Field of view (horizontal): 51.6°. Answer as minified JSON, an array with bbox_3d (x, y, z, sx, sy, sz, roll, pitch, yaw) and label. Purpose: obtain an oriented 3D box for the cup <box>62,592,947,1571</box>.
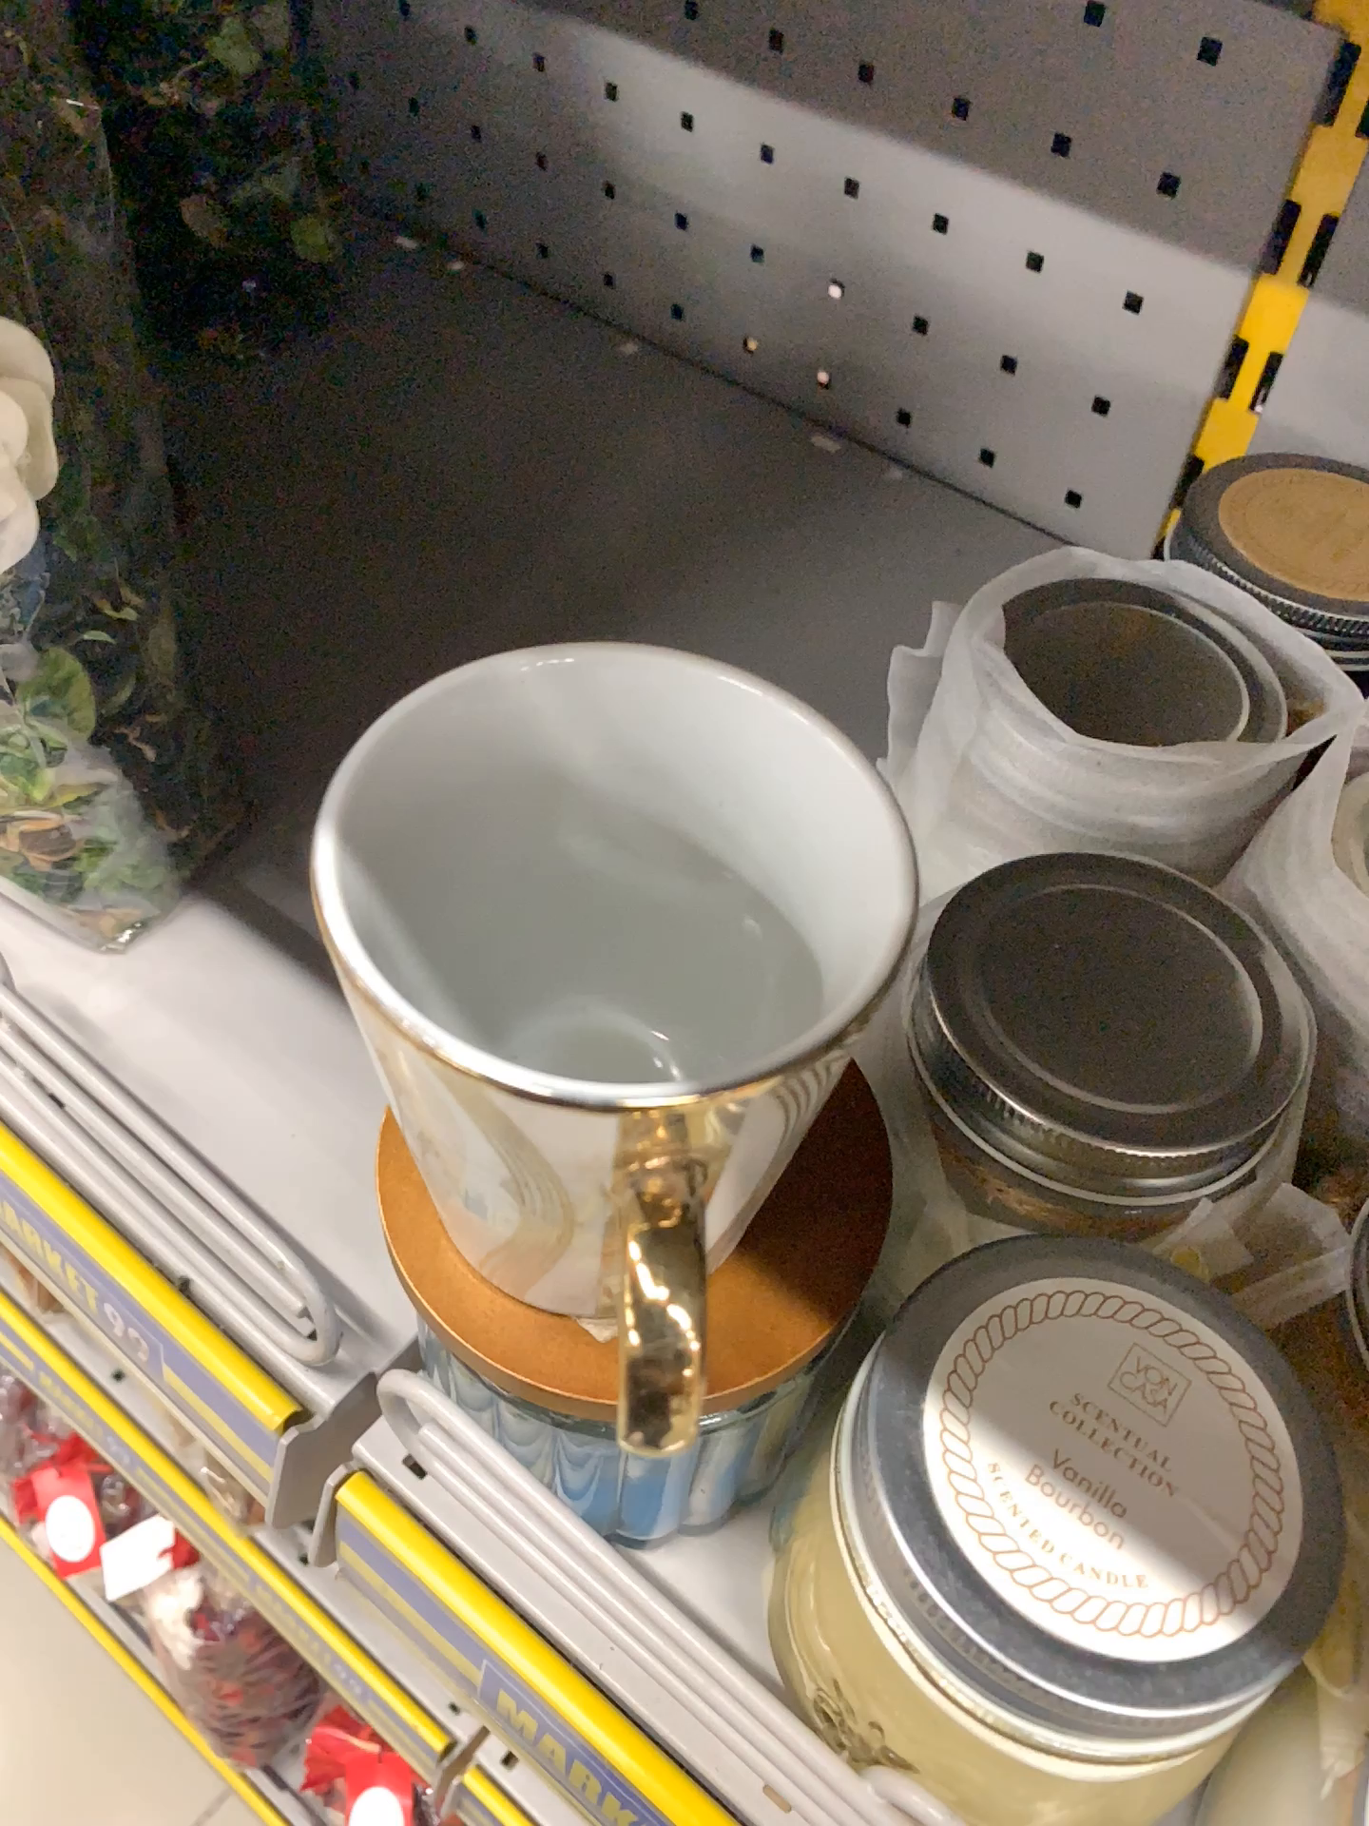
[{"bbox_3d":[-0.018,0.019,0.168,0.070,0.070,0.090,-1,50,-4],"label":"cup"}]
